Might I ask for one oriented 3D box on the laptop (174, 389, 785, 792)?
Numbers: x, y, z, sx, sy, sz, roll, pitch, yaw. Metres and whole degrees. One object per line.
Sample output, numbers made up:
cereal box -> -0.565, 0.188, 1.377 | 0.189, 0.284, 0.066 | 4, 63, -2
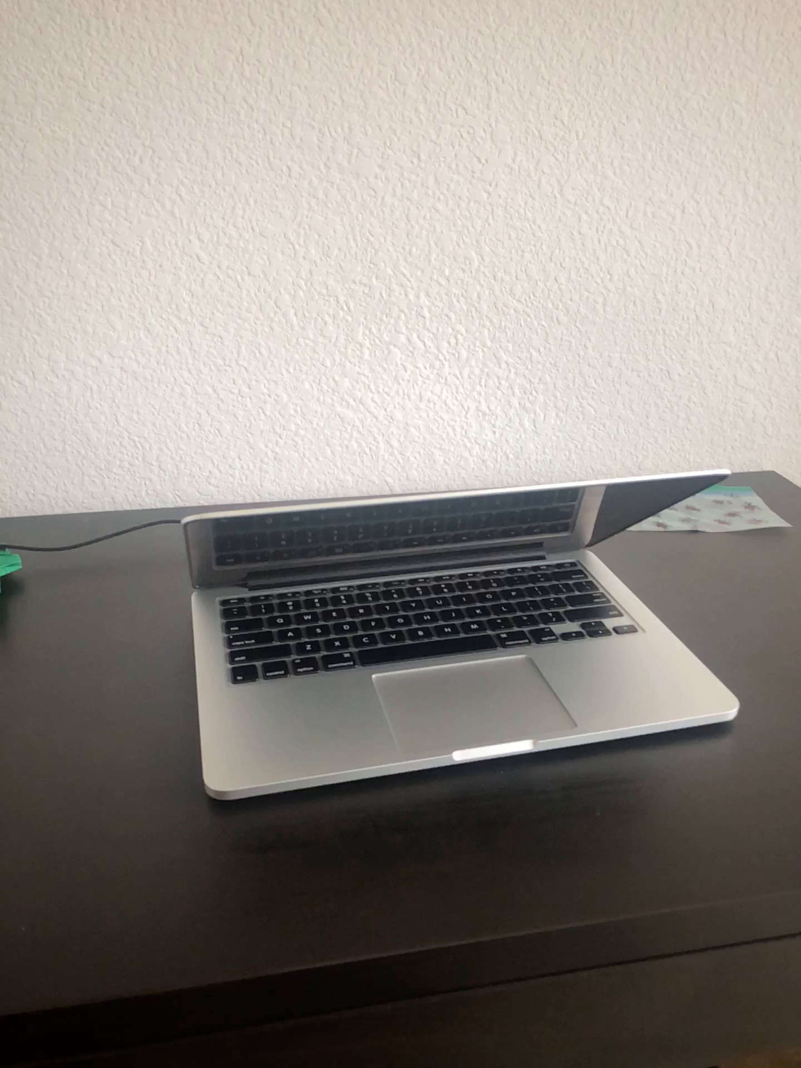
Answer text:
laptop -> 0.024, 0.011, 0.552 | 0.309, 0.133, 0.225 | -5, 25, -13
